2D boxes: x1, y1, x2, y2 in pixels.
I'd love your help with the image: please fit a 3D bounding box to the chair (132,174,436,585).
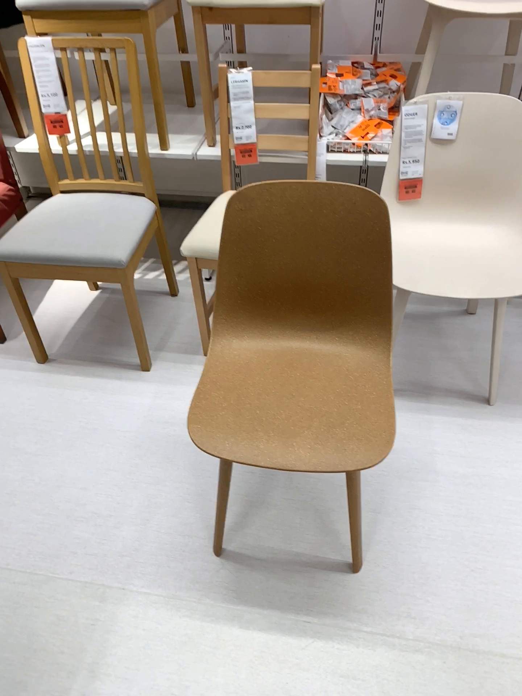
[{"bbox_3d":[0.084,0.078,1.250,0.460,0.757,0.562,4,42,8],"label":"chair"}]
